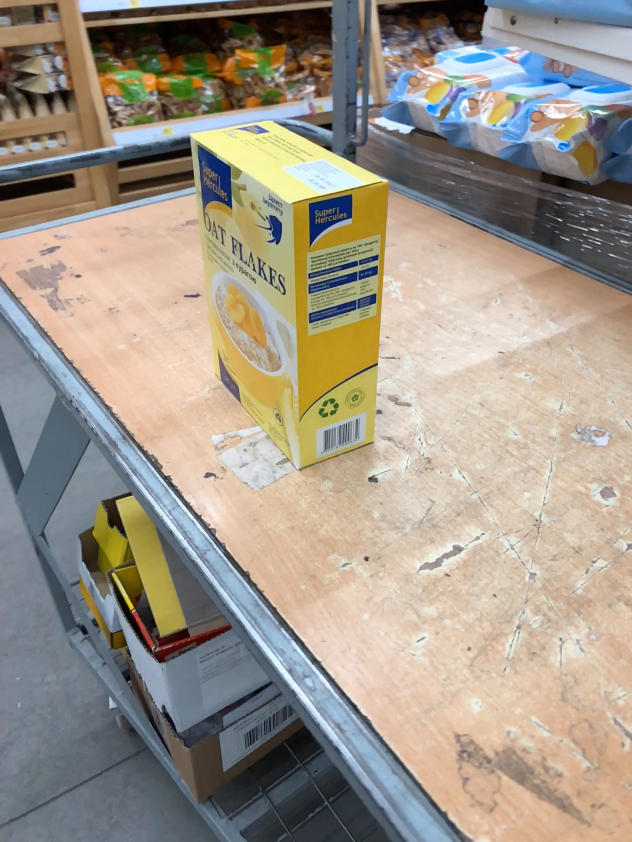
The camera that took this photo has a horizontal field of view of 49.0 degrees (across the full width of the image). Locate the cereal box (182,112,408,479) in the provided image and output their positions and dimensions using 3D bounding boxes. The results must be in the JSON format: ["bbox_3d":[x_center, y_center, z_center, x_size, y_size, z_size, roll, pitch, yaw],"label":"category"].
[{"bbox_3d":[-0.017,-0.091,0.489,0.080,0.199,0.151,-19,40,-22],"label":"cereal box"}]
